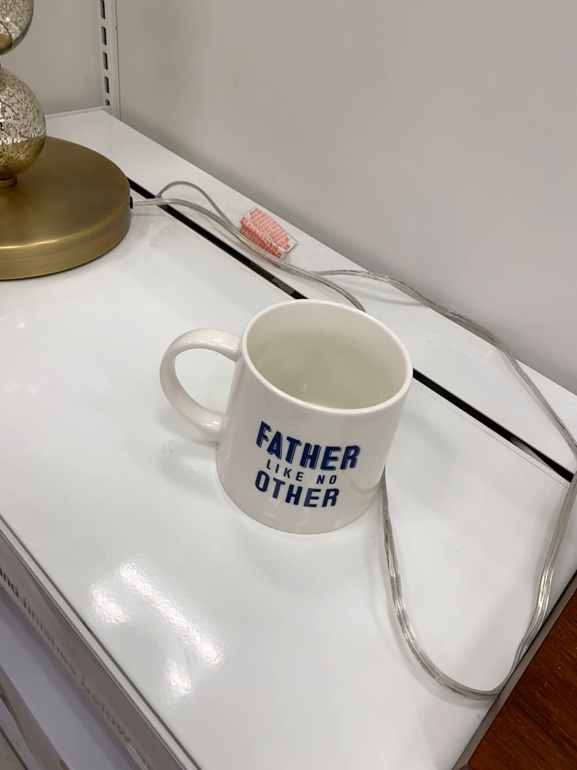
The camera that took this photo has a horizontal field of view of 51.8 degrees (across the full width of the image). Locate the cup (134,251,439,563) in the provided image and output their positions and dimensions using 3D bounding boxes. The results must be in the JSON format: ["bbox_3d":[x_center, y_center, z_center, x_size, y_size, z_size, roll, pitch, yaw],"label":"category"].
[{"bbox_3d":[0.000,0.012,0.389,0.160,0.119,0.121,14,42,3],"label":"cup"}]
